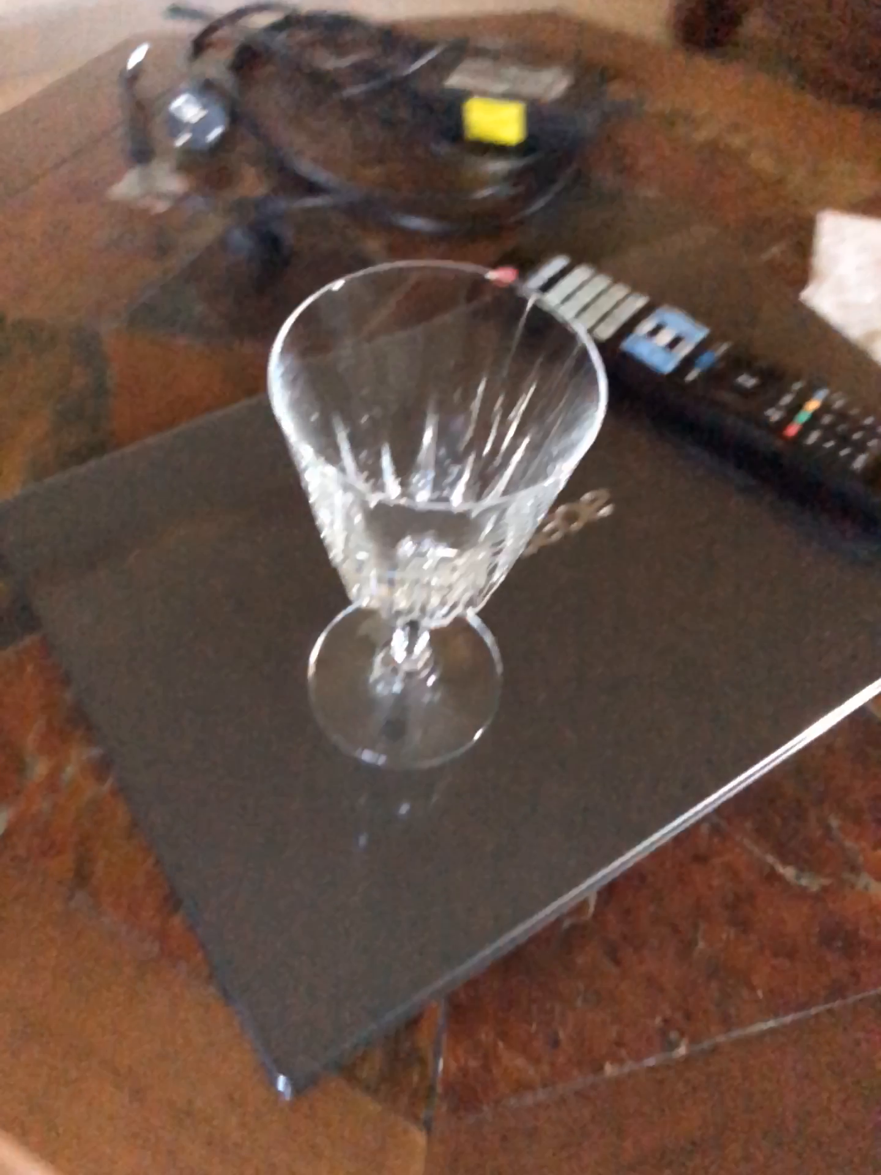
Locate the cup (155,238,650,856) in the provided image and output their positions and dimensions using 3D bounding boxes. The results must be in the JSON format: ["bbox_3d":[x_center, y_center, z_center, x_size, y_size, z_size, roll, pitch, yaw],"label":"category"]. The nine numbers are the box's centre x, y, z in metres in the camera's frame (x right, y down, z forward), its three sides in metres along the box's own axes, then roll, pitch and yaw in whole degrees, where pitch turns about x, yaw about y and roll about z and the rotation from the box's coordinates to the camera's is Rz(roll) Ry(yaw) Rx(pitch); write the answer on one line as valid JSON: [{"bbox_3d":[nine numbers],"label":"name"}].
[{"bbox_3d":[-0.009,-0.003,0.314,0.100,0.159,0.101,2,55,-3],"label":"cup"}]
